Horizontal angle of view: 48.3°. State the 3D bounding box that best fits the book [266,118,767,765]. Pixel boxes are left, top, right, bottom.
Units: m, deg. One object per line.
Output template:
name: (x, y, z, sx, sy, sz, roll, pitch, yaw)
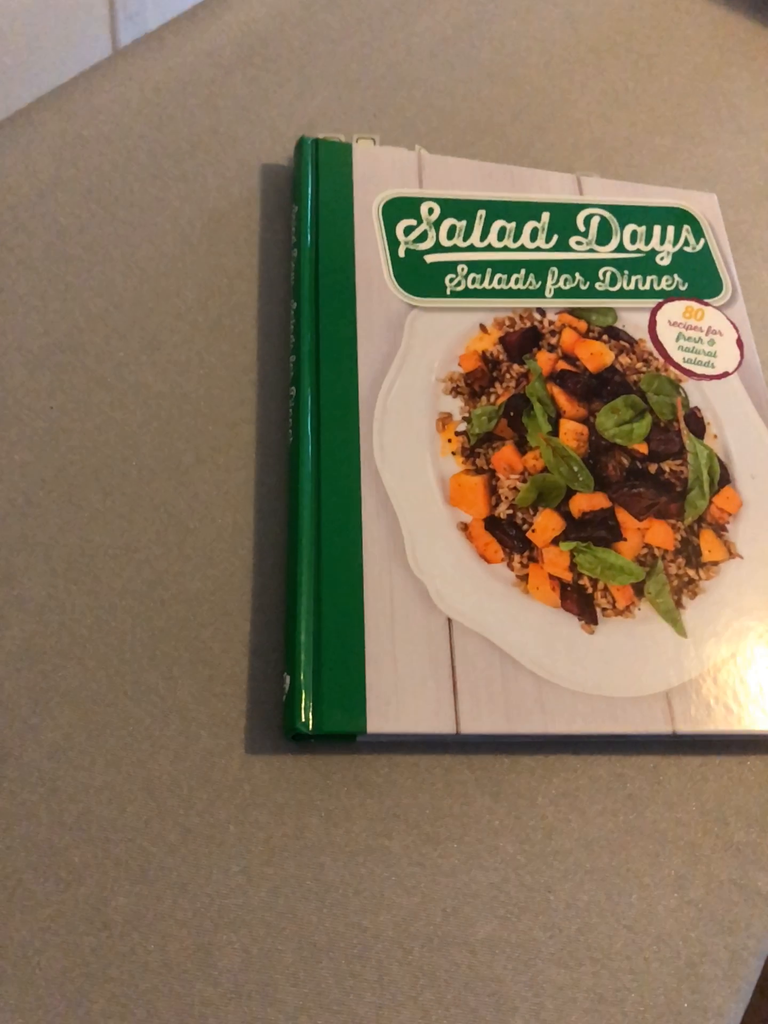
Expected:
book: (0.062, -0.040, 0.351, 0.214, 0.020, 0.275, 3, 64, -12)
